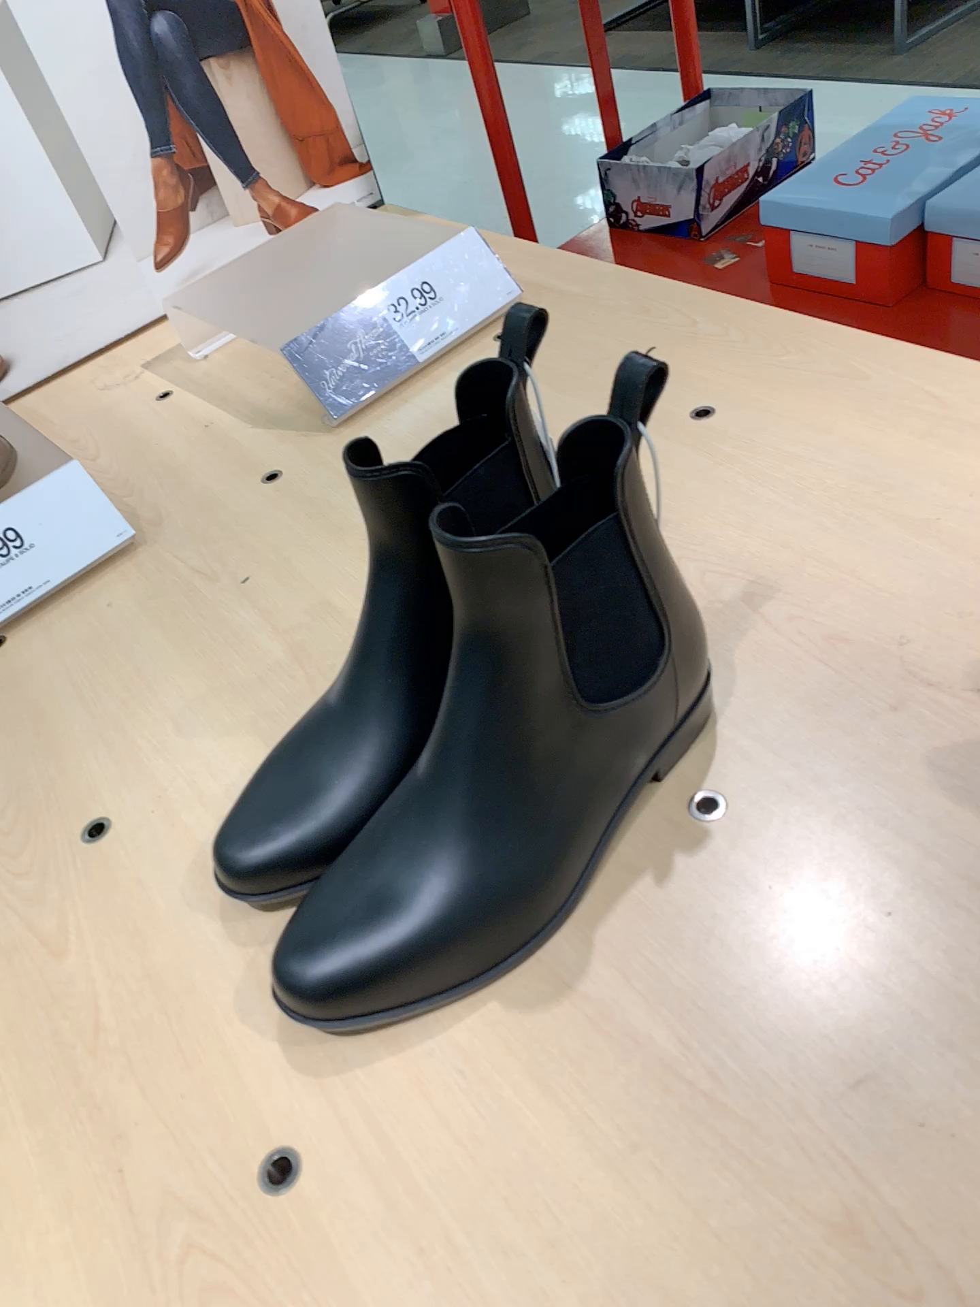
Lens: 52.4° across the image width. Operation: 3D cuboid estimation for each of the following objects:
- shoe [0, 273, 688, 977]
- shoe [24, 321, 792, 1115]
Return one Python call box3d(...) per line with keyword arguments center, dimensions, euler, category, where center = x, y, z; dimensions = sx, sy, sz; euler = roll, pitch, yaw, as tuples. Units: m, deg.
box3d(center=(-0.053, -0.022, 0.501), dimensions=(0.286, 0.201, 0.114), euler=(-38, 44, -19), category="shoe")
box3d(center=(-0.006, 0.022, 0.439), dimensions=(0.286, 0.199, 0.100), euler=(-38, 44, -19), category="shoe")
